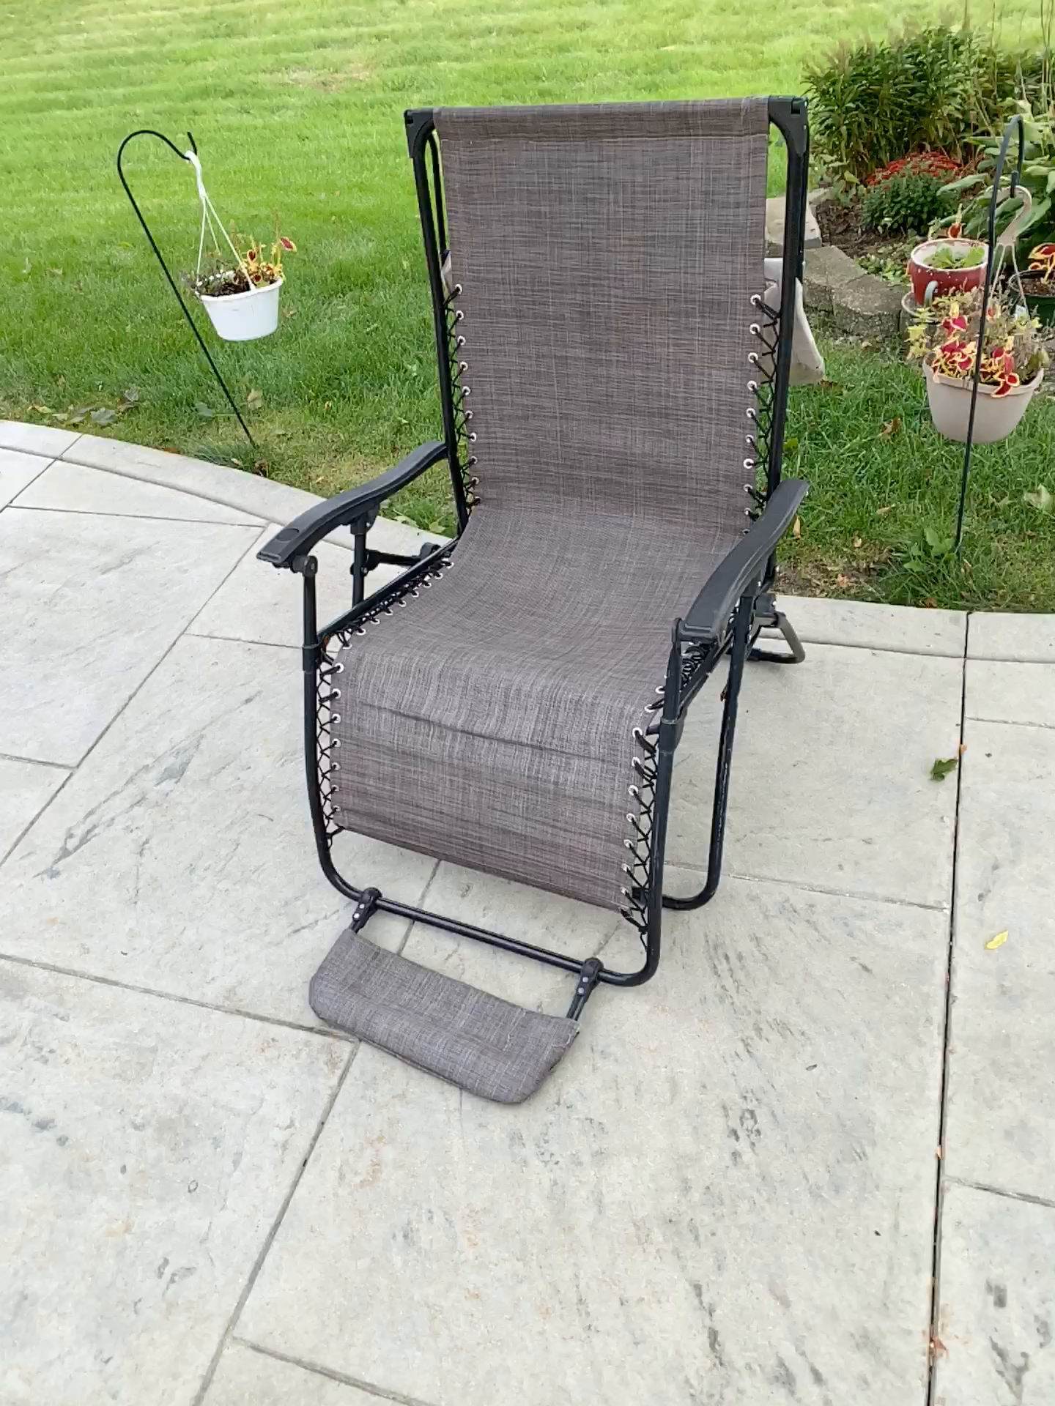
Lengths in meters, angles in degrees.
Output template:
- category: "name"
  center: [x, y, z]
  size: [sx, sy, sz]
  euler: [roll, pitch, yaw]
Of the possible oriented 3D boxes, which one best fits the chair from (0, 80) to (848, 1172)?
- category: "chair"
  center: [-0.051, -0.178, 1.649]
  size: [0.742, 1.056, 1.152]
  euler: [13, 48, 23]
